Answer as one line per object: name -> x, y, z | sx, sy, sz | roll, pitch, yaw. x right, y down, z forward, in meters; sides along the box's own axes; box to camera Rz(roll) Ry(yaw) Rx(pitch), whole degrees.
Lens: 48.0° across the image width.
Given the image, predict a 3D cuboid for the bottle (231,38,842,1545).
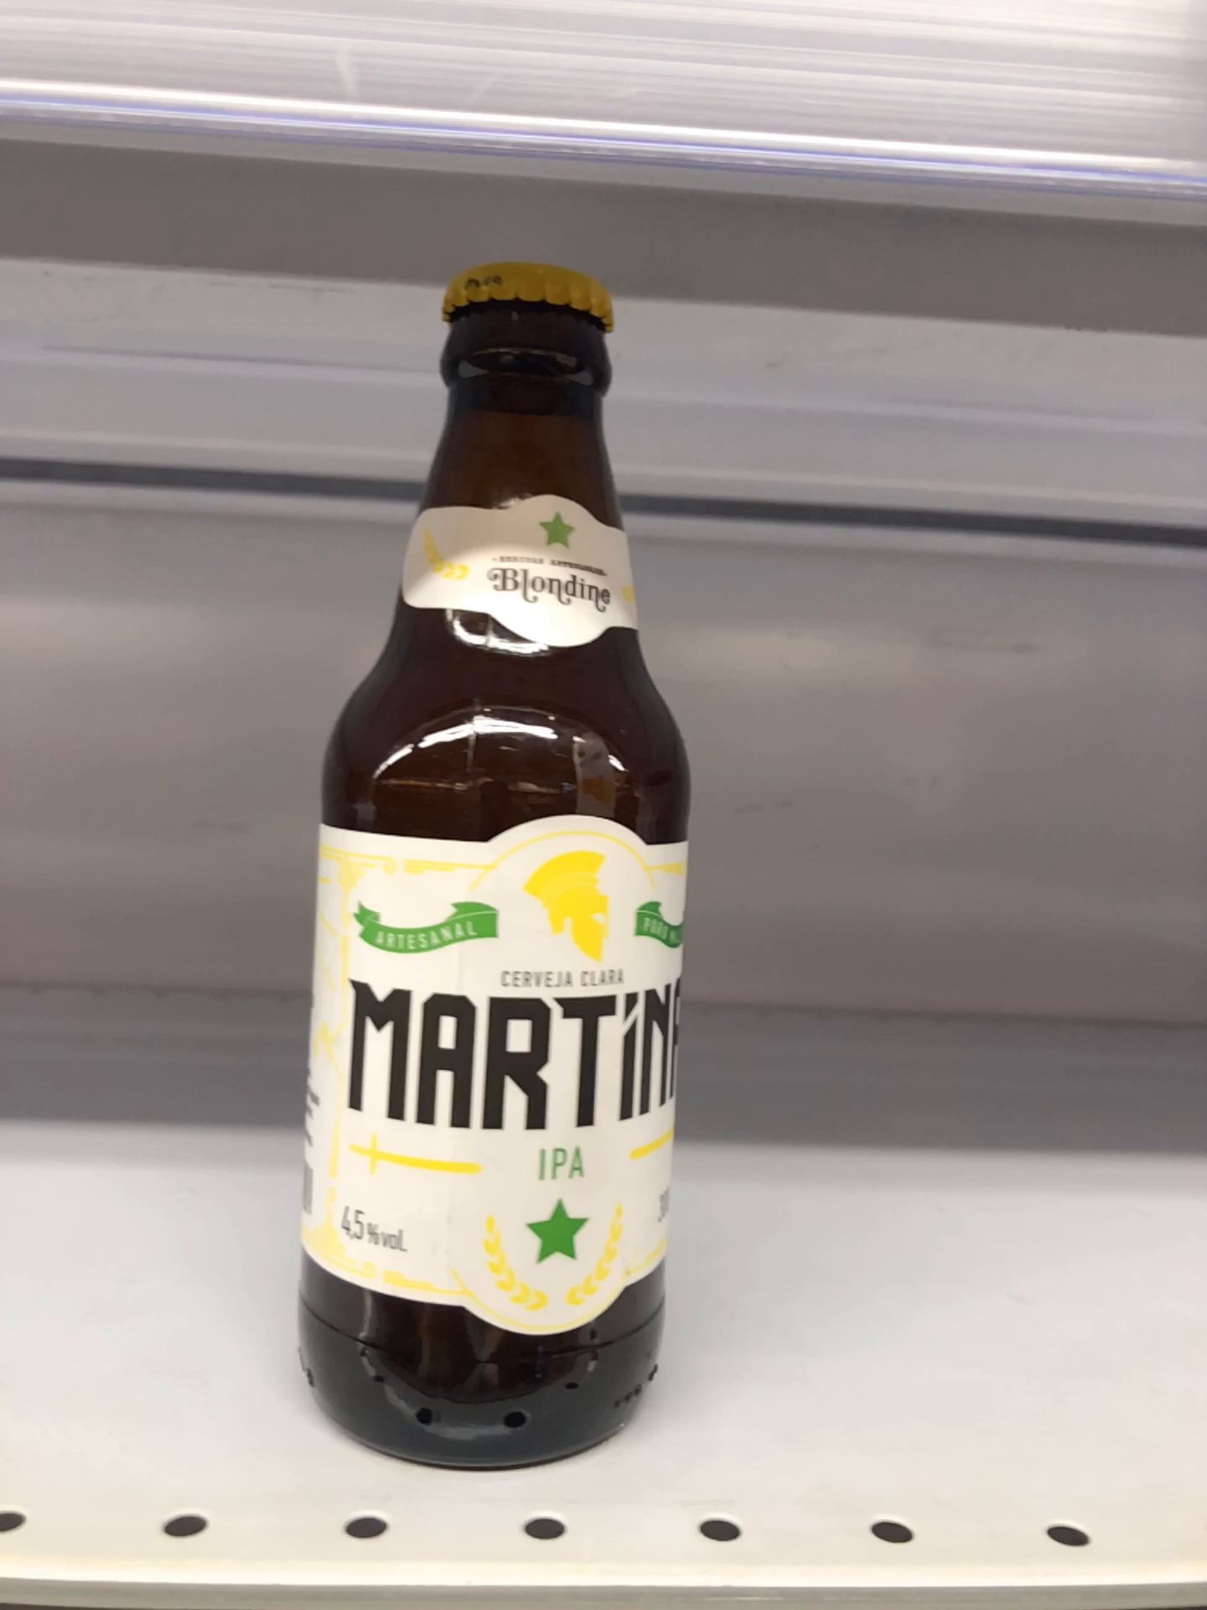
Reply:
bottle -> -0.014, -0.002, 0.213 | 0.070, 0.190, 0.060 | 1, 2, -28
